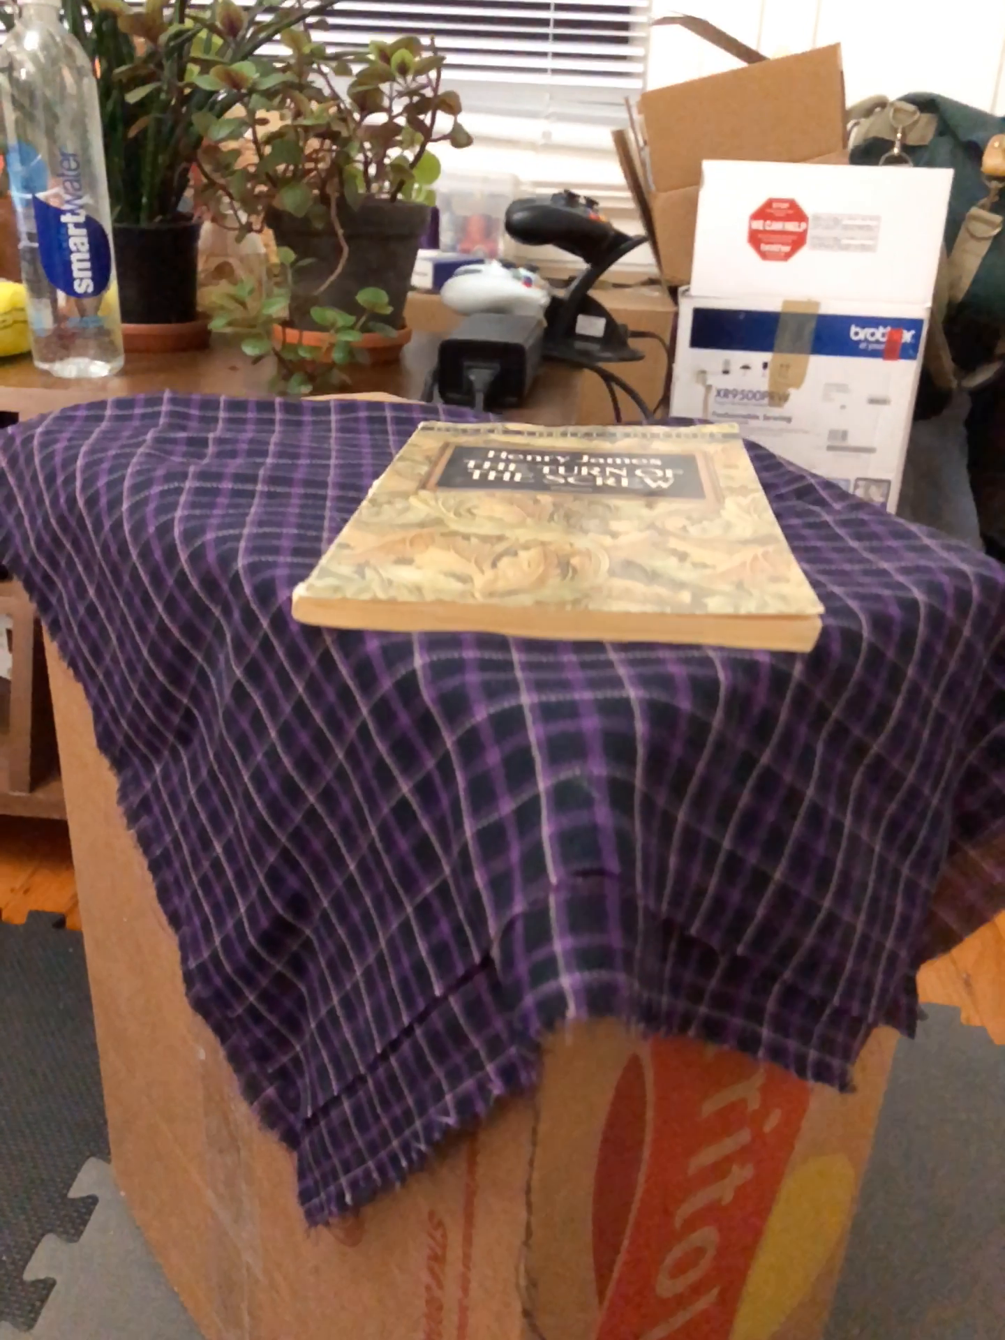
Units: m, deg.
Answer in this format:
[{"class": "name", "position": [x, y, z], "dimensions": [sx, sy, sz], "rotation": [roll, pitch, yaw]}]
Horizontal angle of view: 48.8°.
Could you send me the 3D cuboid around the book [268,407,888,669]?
[{"class": "book", "position": [0.024, -0.054, 0.353], "dimensions": [0.140, 0.010, 0.221], "rotation": [4, 24, 3]}]
